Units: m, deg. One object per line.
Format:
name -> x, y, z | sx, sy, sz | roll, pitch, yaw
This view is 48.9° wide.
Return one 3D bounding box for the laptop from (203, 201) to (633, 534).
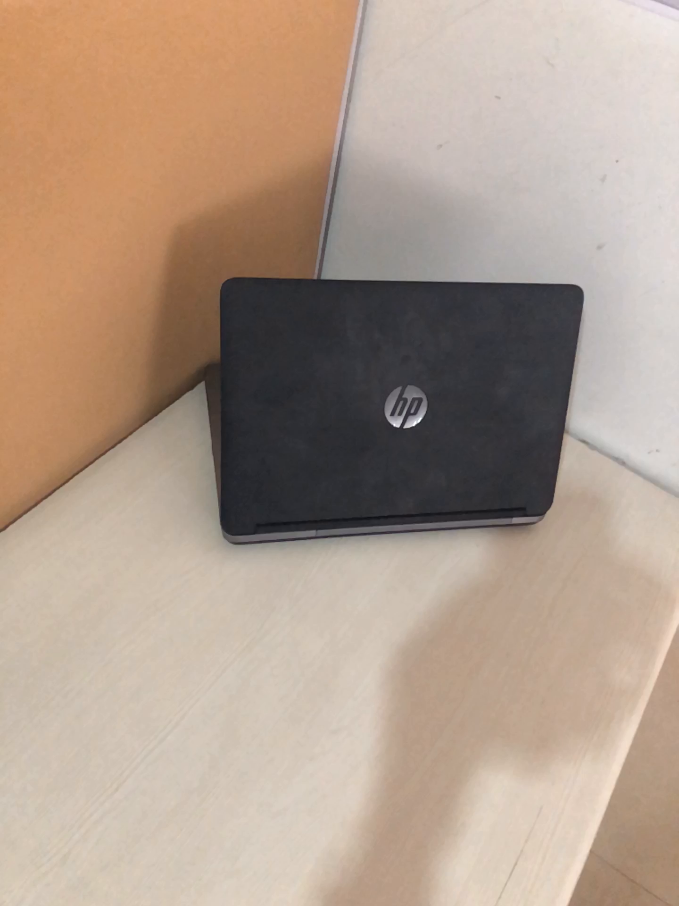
laptop -> 0.046, -0.081, 0.709 | 0.318, 0.193, 0.228 | -2, 49, -16
